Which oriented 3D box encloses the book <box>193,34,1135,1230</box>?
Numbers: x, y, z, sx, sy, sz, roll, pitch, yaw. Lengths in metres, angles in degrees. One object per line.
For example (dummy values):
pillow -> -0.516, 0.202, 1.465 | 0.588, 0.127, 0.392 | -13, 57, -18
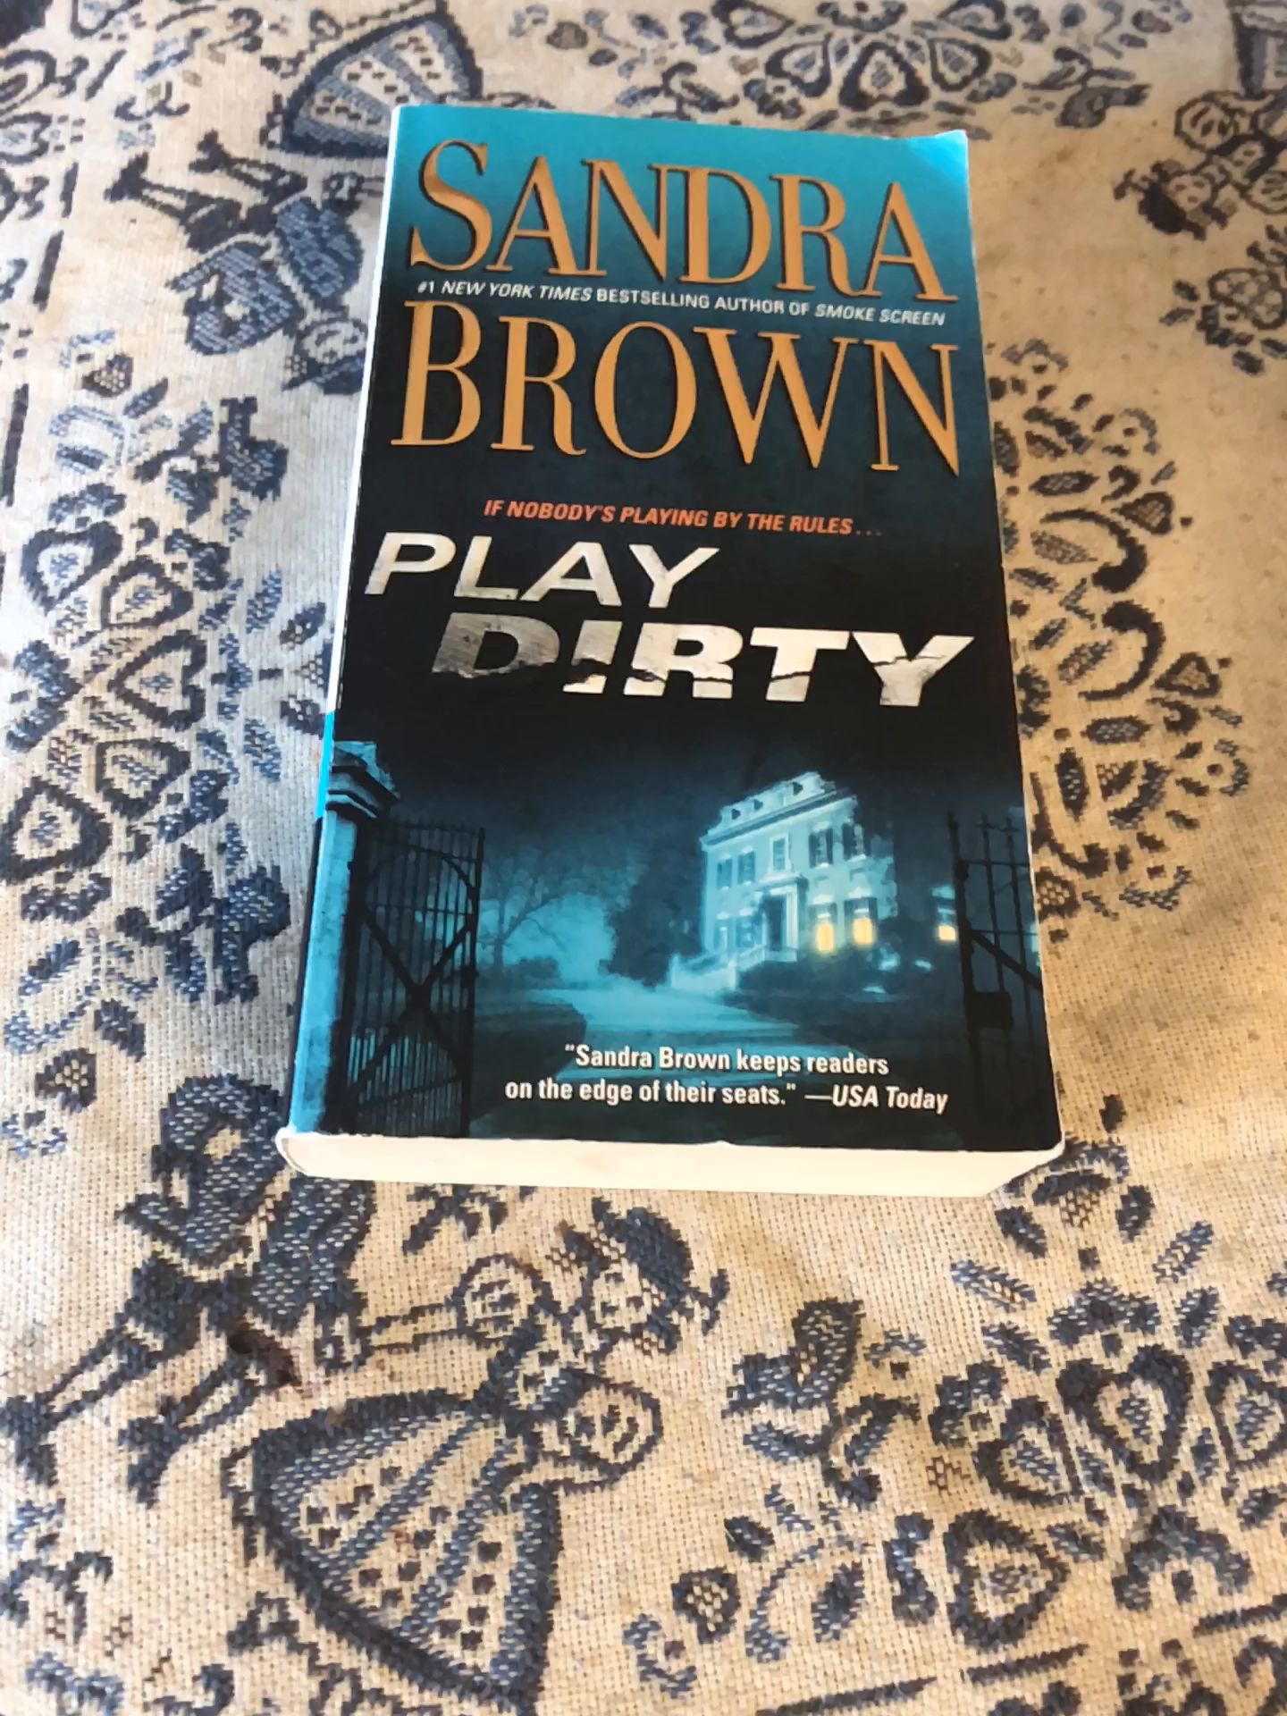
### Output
book -> 0.003, -0.039, 0.218 | 0.110, 0.040, 0.181 | 2, 69, -3
